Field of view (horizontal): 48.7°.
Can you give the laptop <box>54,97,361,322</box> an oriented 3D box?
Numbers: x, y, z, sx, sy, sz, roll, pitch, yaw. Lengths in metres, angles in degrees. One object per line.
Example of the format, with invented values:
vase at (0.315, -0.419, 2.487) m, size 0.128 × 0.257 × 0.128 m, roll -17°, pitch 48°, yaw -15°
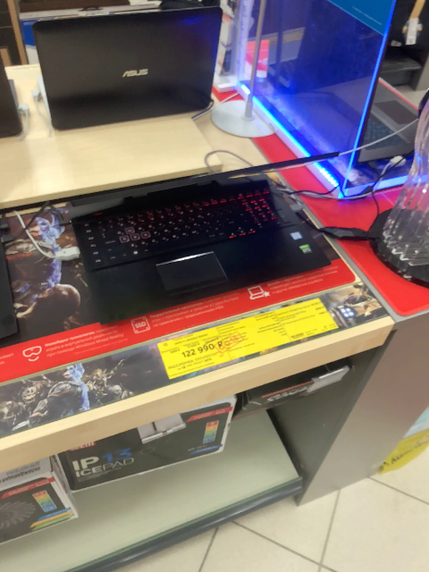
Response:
laptop at (-0.023, -0.142, 0.776) m, size 0.394 × 0.166 × 0.259 m, roll -14°, pitch 51°, yaw -16°
